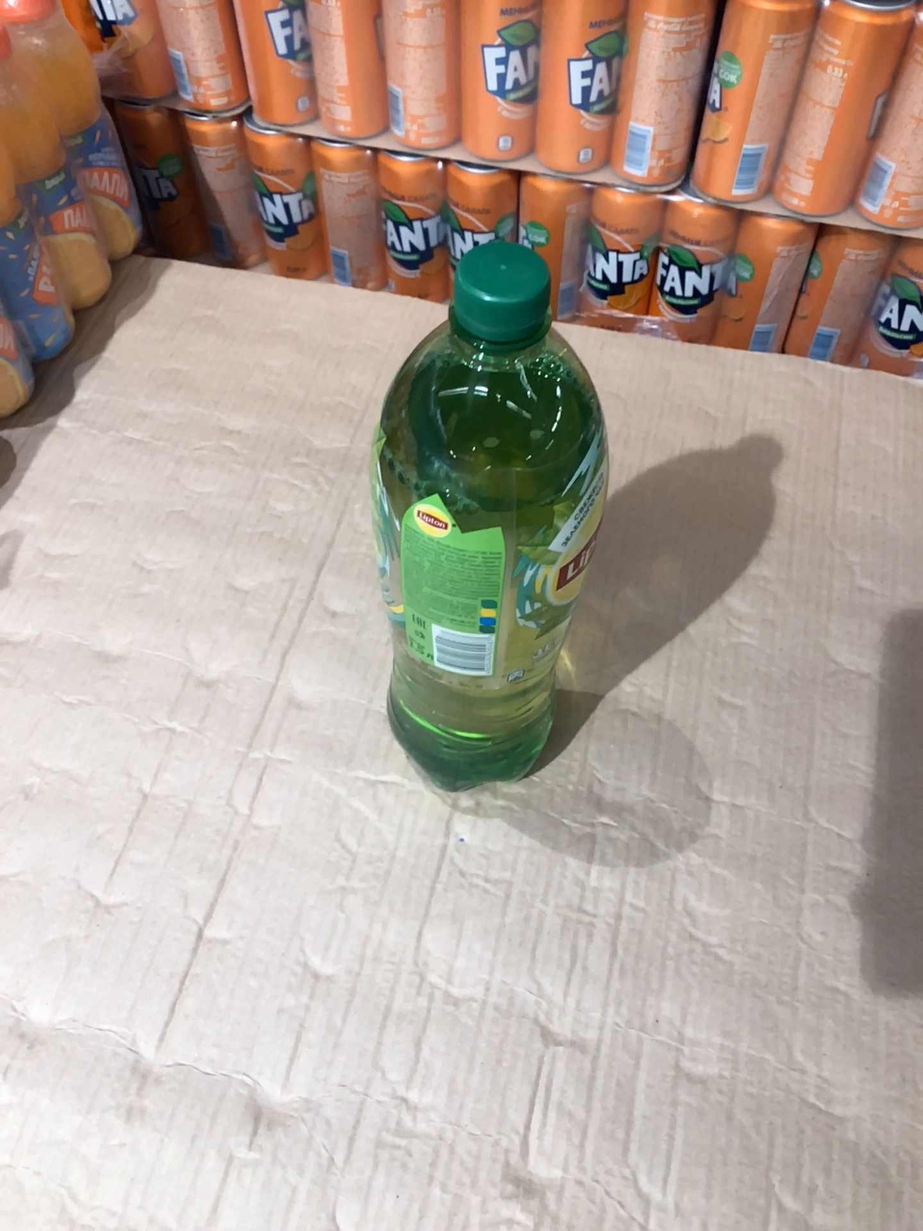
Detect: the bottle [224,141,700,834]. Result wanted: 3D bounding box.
[{"bbox_3d":[0.005,-0.030,0.451,0.120,0.288,0.121,0,57,0],"label":"bottle"}]
